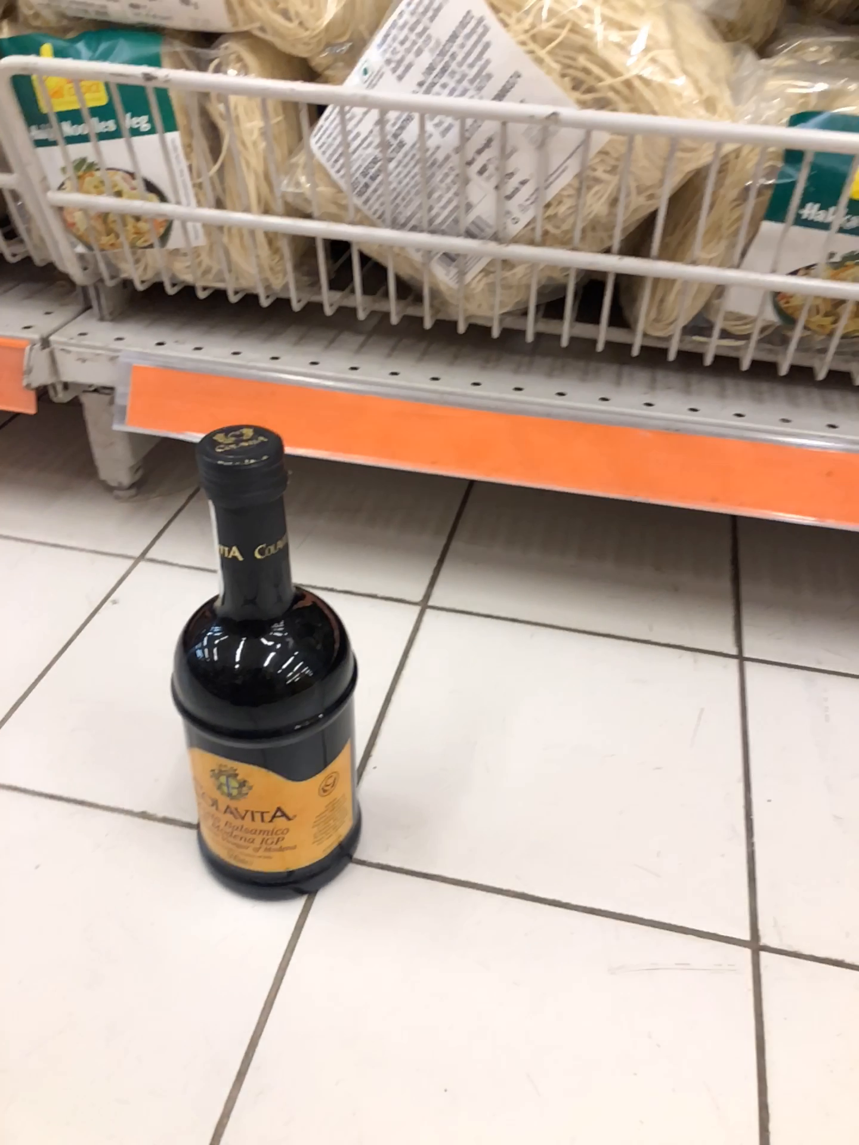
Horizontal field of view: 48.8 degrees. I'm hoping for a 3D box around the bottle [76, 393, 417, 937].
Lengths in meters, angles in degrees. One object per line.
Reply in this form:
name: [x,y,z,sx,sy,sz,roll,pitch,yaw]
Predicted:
bottle: [-0.062,0.042,0.394,0.090,0.199,0.091,1,35,-1]
